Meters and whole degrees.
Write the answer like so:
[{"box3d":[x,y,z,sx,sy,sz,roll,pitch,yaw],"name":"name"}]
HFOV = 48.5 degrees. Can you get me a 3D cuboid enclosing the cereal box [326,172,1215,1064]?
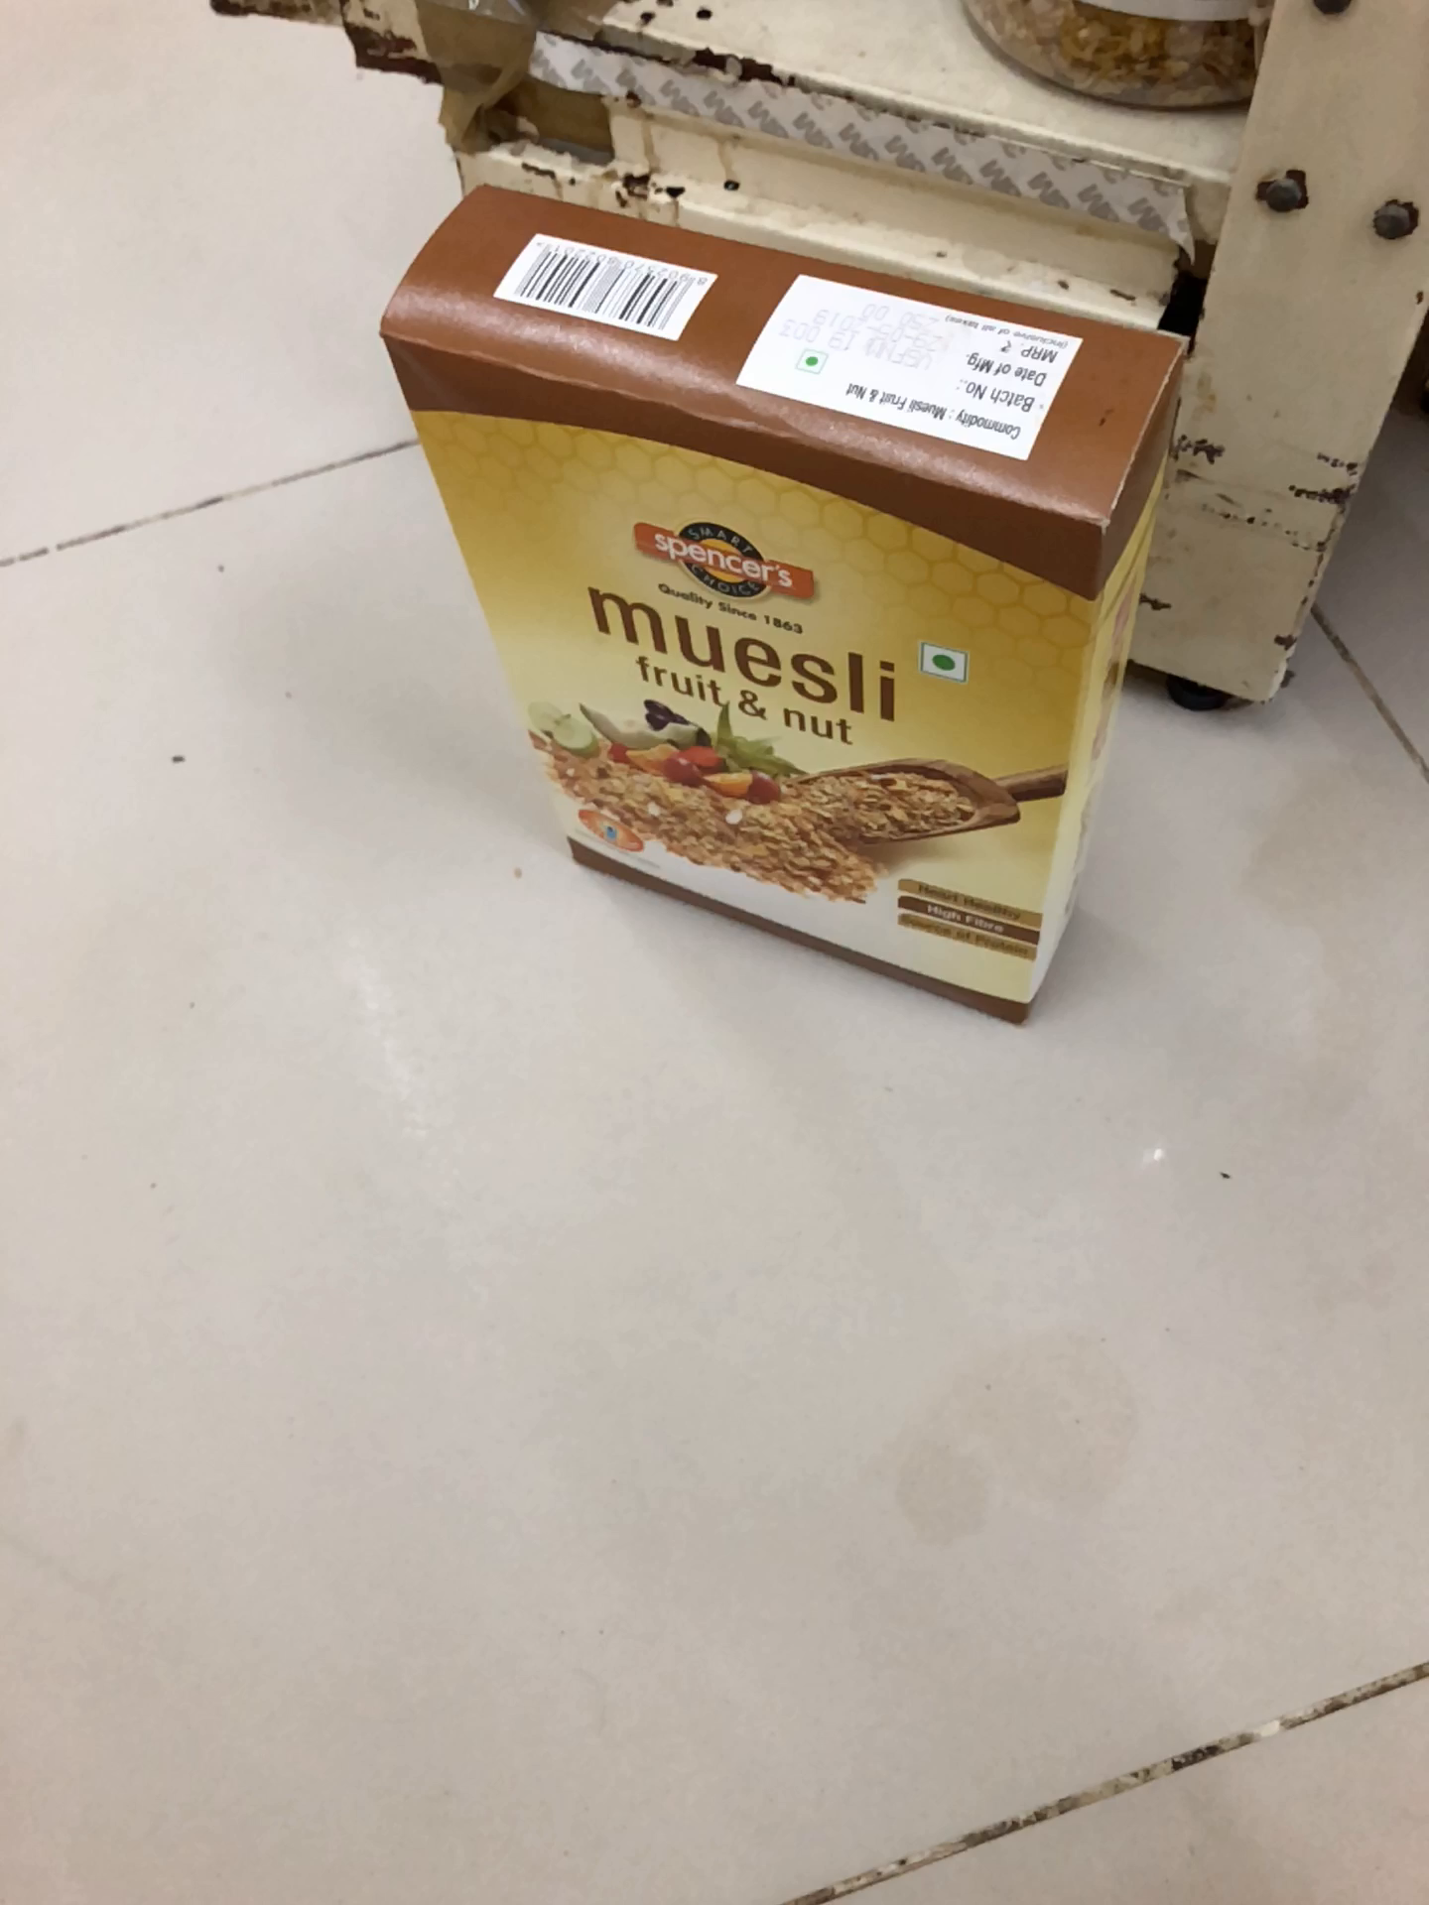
[{"box3d":[0.019,-0.078,0.456,0.190,0.239,0.060,20,65,17],"name":"cereal box"}]
